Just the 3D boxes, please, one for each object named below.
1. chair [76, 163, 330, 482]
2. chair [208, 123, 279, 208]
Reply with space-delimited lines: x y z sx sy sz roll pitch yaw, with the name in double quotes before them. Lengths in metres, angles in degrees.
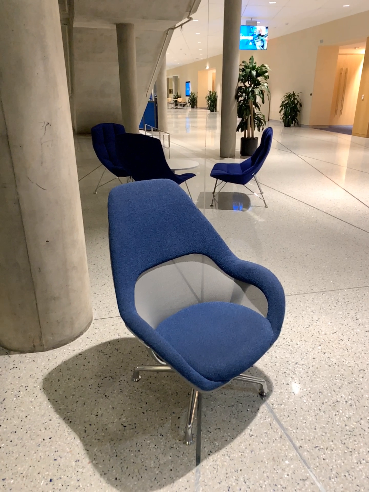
"chair" 0.088 0.222 1.688 0.817 0.997 0.633 -19 28 -39
"chair" 0.732 -1.074 4.878 0.781 0.918 0.890 2 22 6
